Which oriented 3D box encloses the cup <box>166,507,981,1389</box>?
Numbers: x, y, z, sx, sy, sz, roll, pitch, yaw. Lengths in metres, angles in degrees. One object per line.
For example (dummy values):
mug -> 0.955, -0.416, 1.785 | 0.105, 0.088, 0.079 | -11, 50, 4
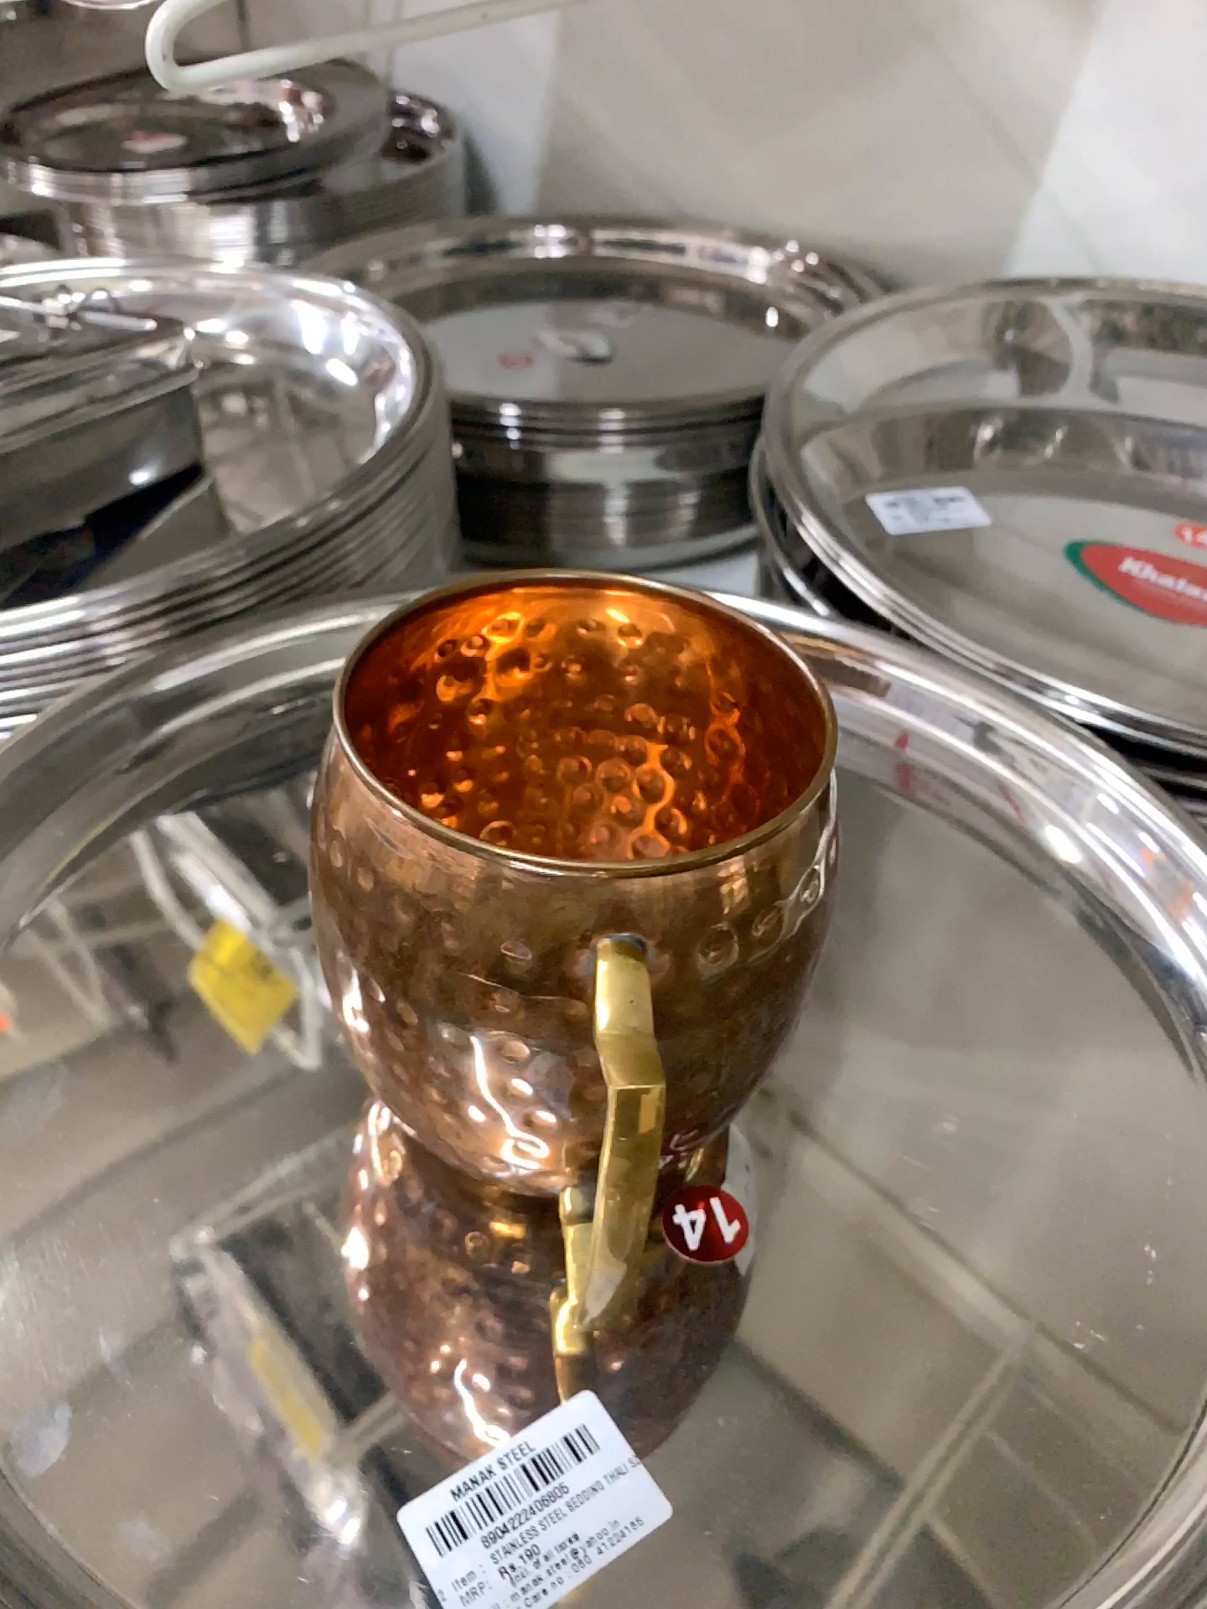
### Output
cup -> -0.006, 0.019, 0.210 | 0.090, 0.090, 0.110 | -2, 41, -3
